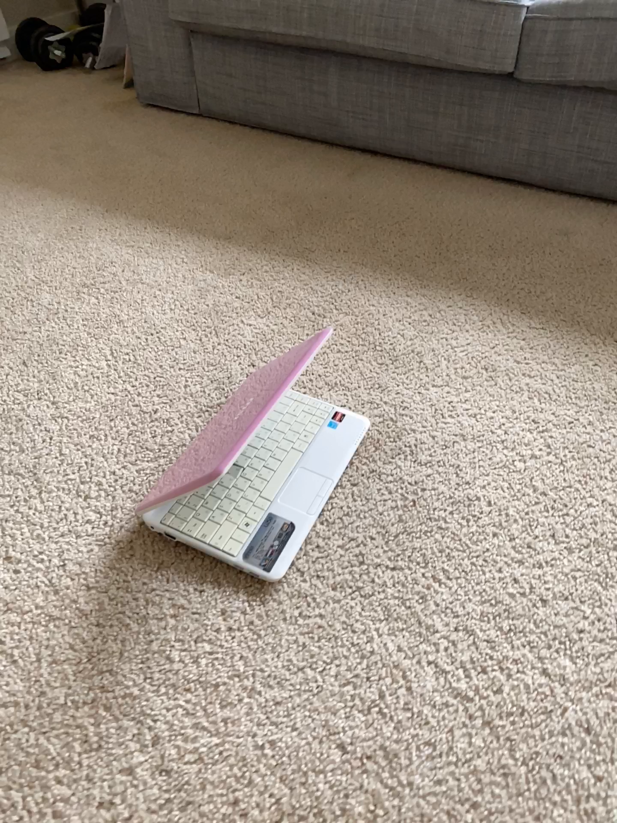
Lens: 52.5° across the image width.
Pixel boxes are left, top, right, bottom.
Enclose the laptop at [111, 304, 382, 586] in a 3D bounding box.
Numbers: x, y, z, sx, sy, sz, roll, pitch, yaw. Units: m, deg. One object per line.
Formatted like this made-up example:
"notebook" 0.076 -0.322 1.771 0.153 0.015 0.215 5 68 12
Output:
"laptop" -0.058 0.023 0.787 0.197 0.122 0.298 20 48 17
